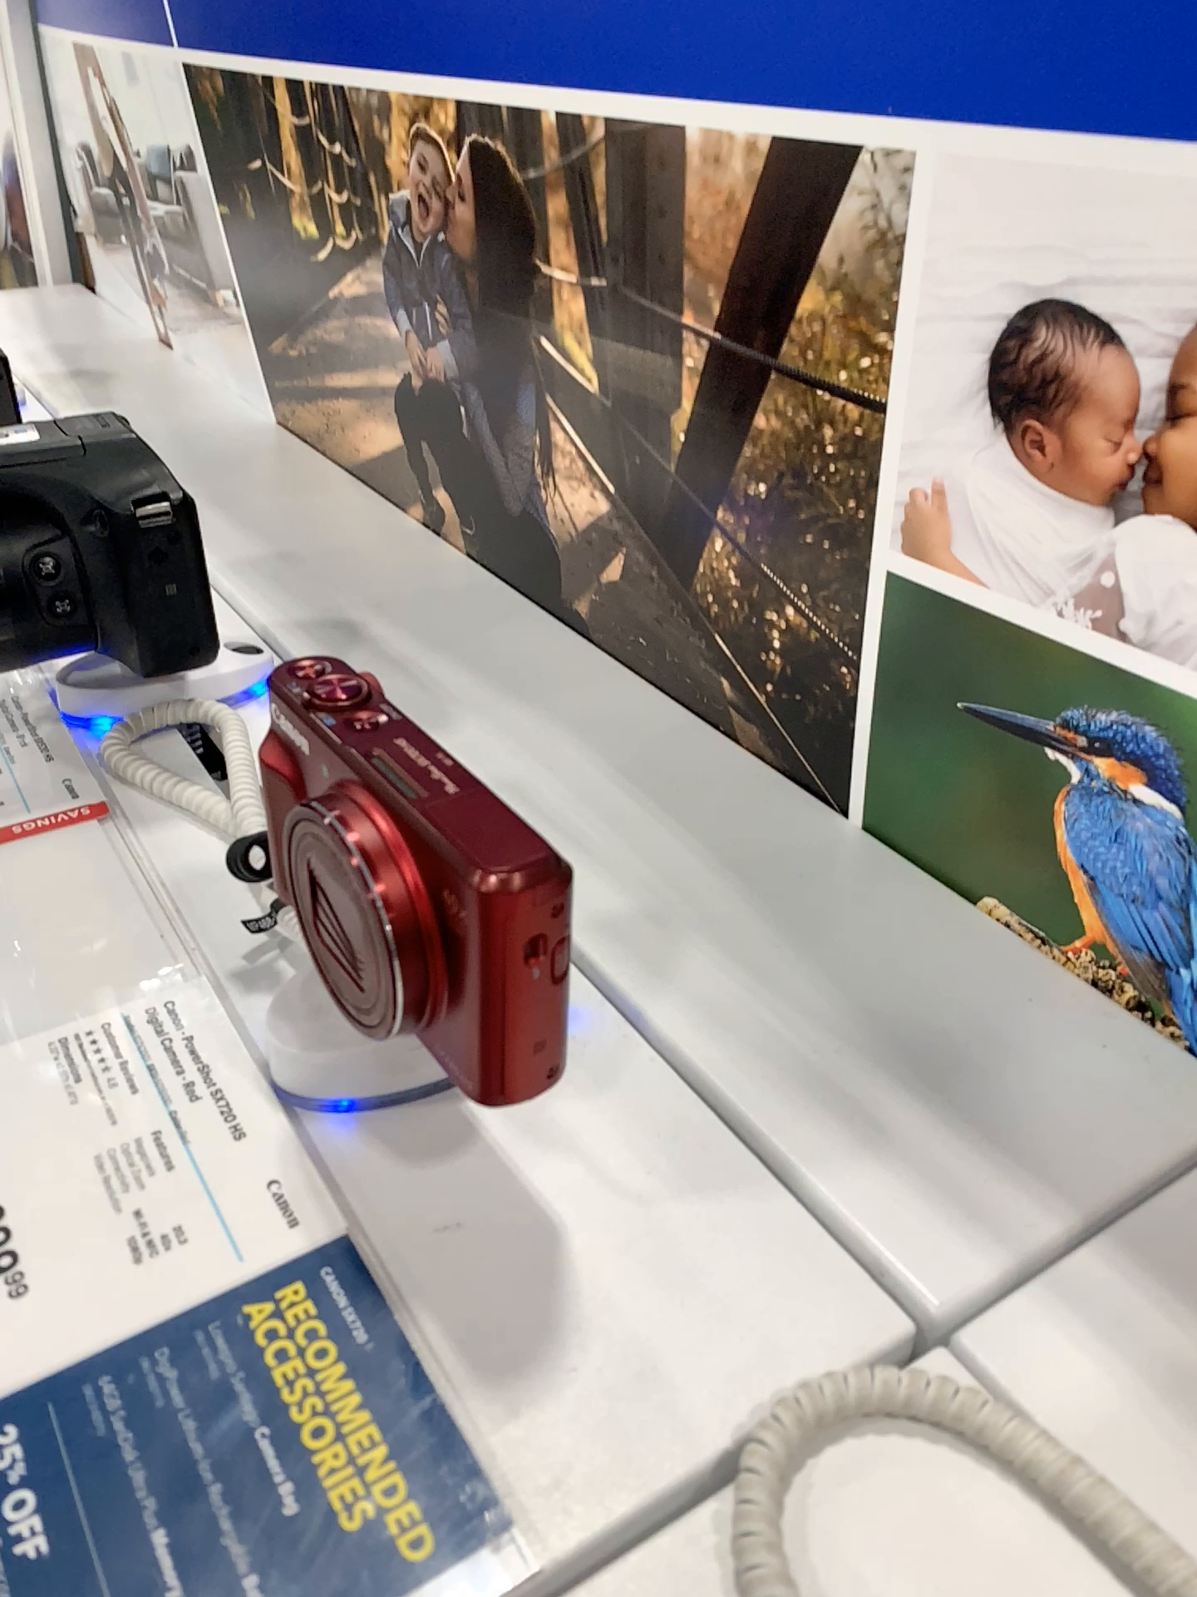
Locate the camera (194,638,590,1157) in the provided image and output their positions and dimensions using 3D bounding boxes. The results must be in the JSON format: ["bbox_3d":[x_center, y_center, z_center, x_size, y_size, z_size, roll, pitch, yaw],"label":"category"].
[{"bbox_3d":[-0.050,0.016,0.277,0.037,0.060,0.110,-18,38,-31],"label":"camera"}]
